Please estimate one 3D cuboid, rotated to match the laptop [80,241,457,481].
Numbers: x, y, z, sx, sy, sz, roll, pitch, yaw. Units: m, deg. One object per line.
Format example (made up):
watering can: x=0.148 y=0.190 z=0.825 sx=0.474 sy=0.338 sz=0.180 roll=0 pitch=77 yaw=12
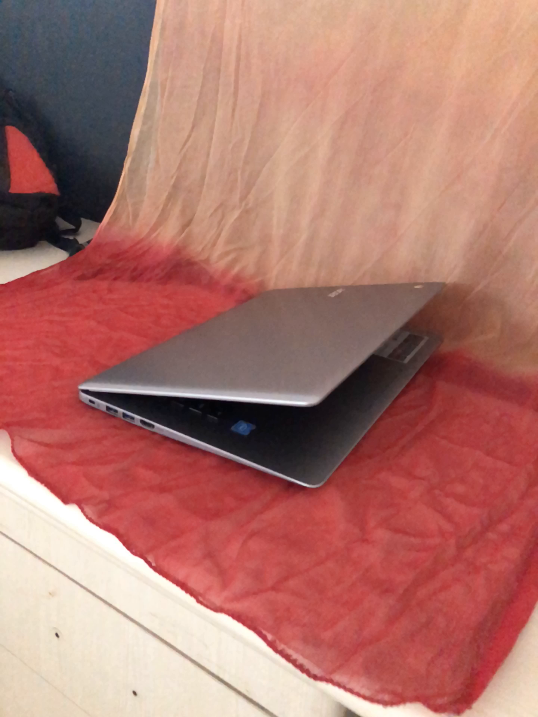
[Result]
laptop: x=0.022 y=-0.031 z=0.560 sx=0.219 sy=0.065 sz=0.323 roll=16 pitch=28 yaw=26
